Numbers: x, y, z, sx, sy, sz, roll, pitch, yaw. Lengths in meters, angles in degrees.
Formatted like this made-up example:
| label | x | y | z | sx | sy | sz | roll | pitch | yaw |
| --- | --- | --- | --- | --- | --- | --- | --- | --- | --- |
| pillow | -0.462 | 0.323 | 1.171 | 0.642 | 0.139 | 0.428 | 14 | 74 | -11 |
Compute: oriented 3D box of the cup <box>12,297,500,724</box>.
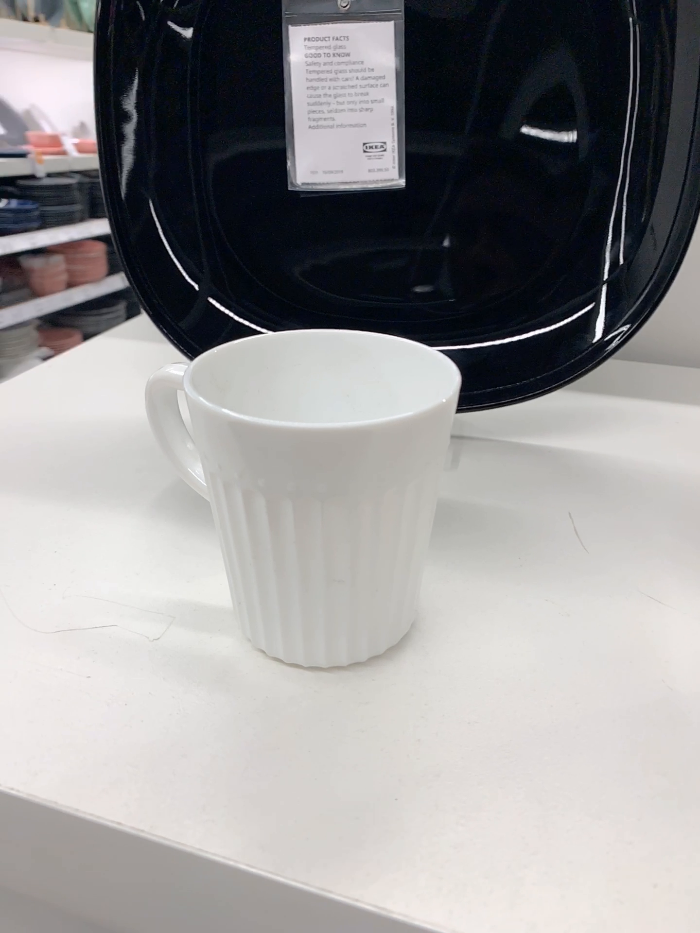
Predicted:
| label | x | y | z | sx | sy | sz | roll | pitch | yaw |
| --- | --- | --- | --- | --- | --- | --- | --- | --- | --- |
| cup | -0.022 | 0.002 | 0.227 | 0.110 | 0.080 | 0.090 | 12 | 28 | 21 |
